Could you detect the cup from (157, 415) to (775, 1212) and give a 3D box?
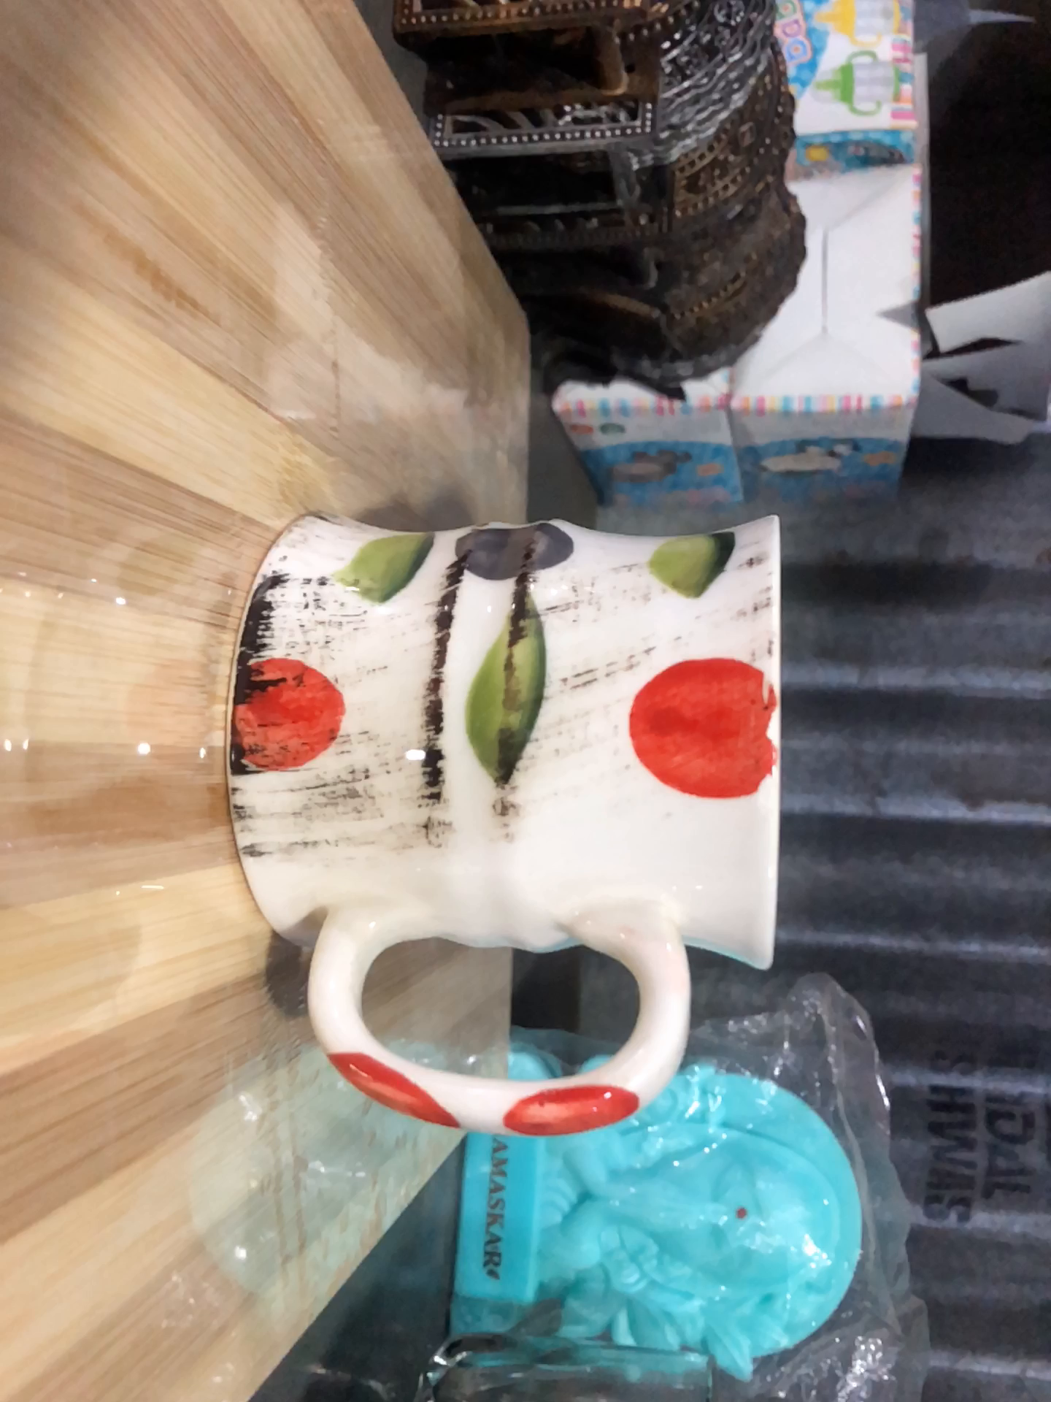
[{"bbox_3d":[-0.001,0.017,0.196,0.060,0.080,0.110,59,34,-72],"label":"cup"}]
